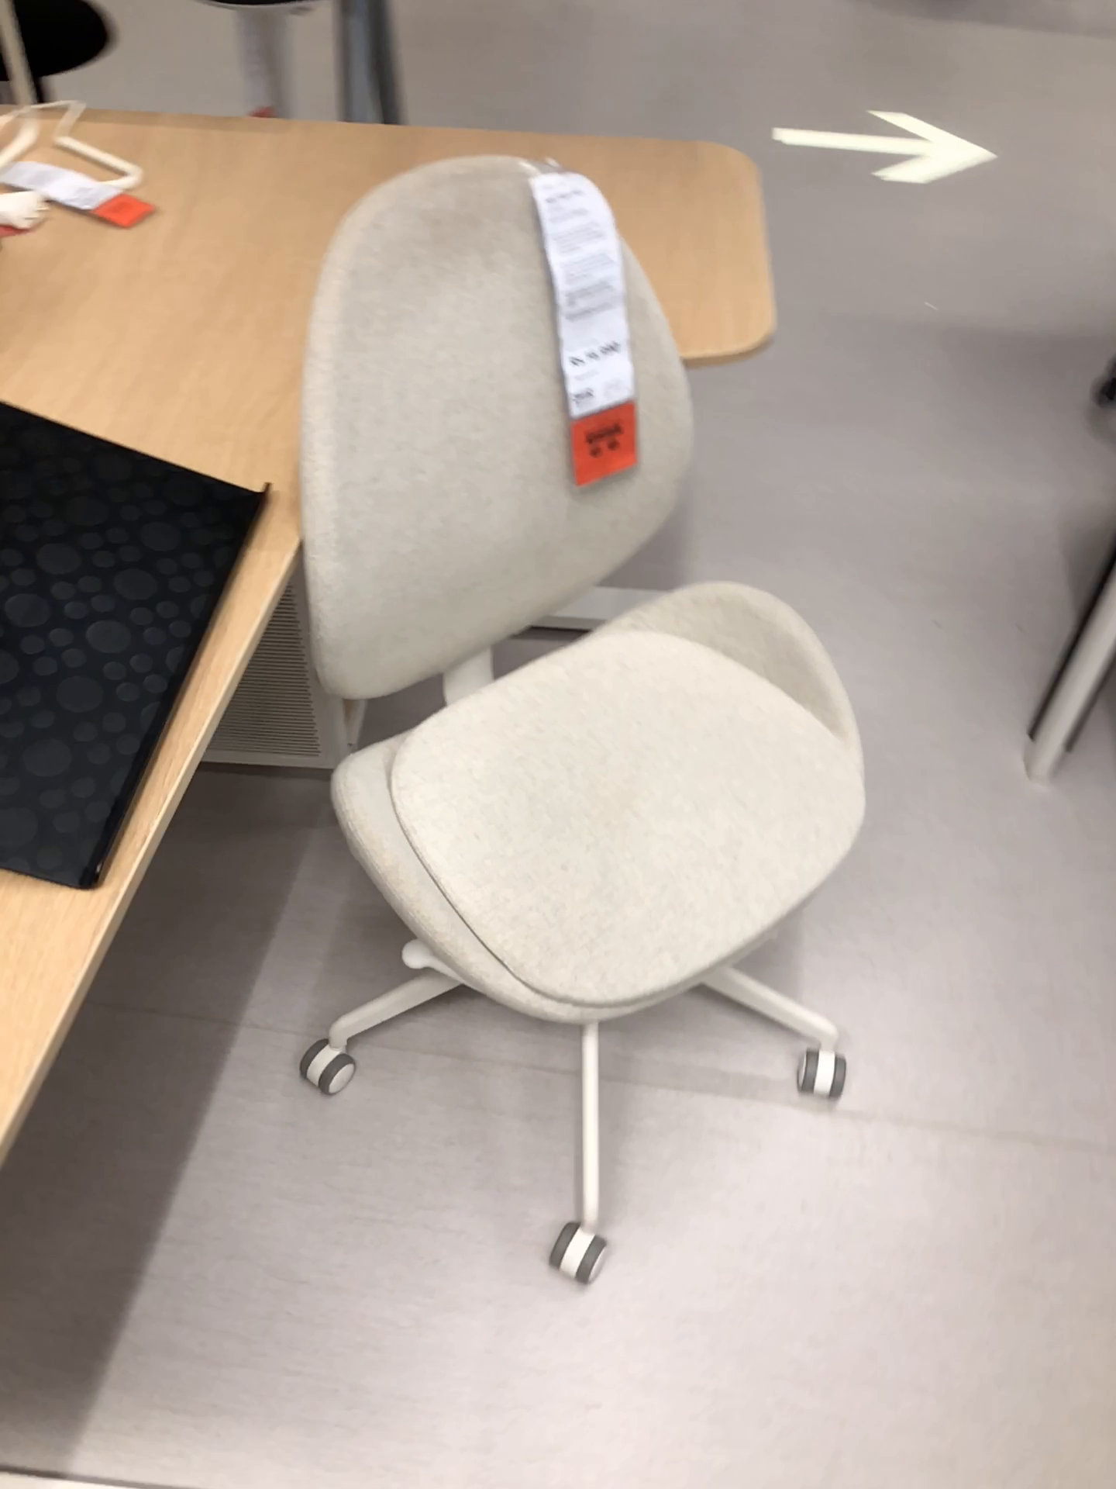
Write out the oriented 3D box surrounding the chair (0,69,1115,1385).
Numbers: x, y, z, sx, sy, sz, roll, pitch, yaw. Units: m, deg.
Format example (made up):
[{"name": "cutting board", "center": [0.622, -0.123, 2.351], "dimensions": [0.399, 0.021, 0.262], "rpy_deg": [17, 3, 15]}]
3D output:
[{"name": "chair", "center": [0.031, 0.016, 1.241], "dimensions": [0.662, 0.994, 0.622], "rpy_deg": [-31, 56, -26]}]
